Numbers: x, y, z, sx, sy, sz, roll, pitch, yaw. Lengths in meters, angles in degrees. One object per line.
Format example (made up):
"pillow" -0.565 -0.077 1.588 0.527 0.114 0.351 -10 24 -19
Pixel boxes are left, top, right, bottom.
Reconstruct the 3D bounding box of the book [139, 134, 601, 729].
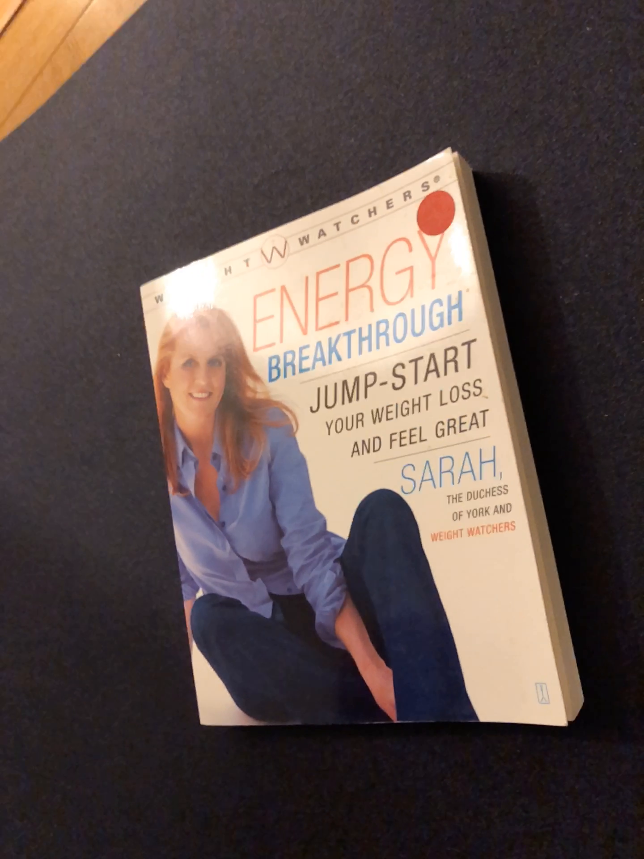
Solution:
"book" 0.006 0.013 0.333 0.186 0.030 0.234 -14 80 29
